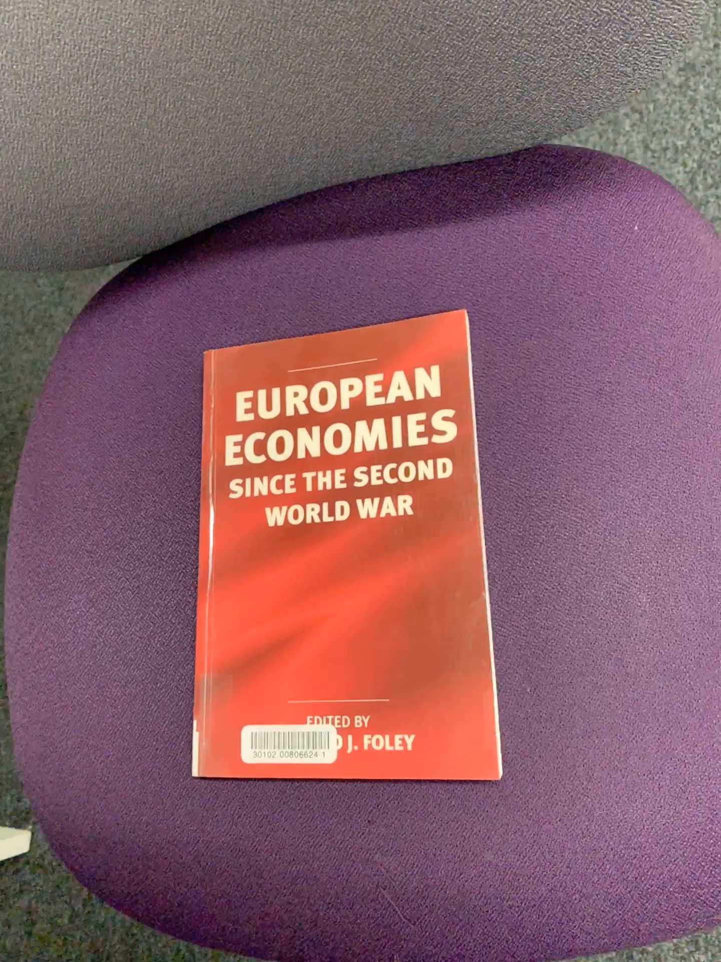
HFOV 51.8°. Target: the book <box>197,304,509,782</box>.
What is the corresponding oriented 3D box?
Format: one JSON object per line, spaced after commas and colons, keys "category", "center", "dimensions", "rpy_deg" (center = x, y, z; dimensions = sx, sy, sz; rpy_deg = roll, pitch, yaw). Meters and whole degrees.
{"category": "book", "center": [-0.009, 0.029, 0.377], "dimensions": [0.148, 0.020, 0.225], "rpy_deg": [-6, 75, 17]}
